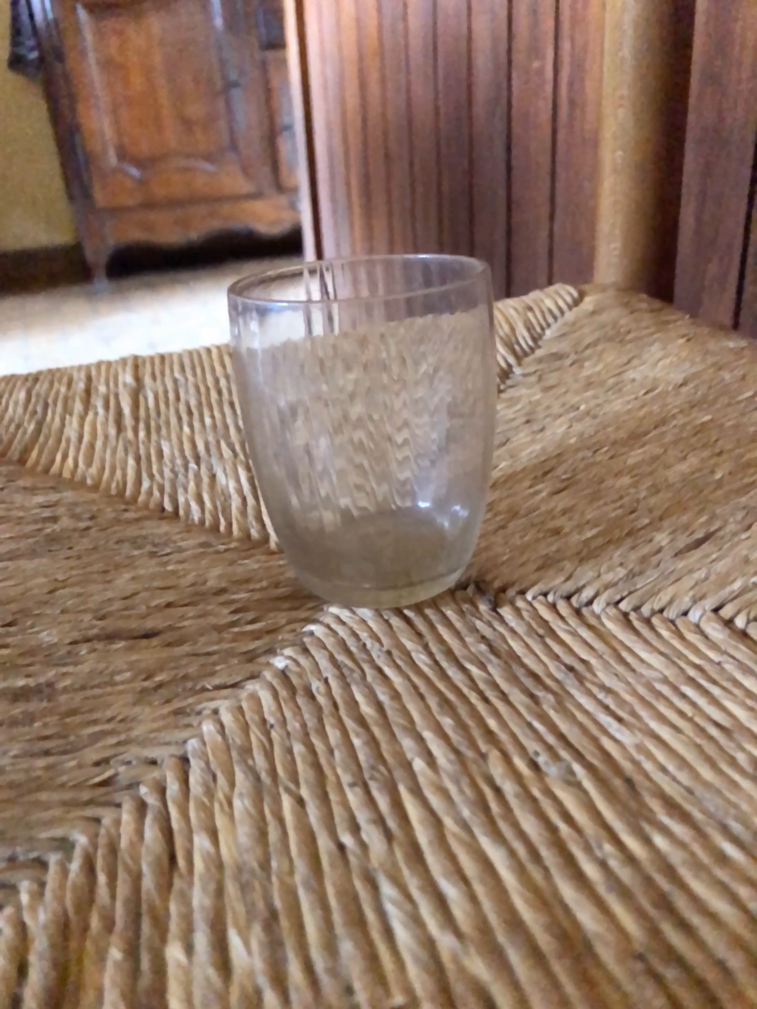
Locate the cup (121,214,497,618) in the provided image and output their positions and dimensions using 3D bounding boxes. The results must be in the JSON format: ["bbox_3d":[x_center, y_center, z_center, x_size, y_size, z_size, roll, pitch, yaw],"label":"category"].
[{"bbox_3d":[-0.009,-0.026,0.217,0.070,0.080,0.070,-4,26,2],"label":"cup"}]
